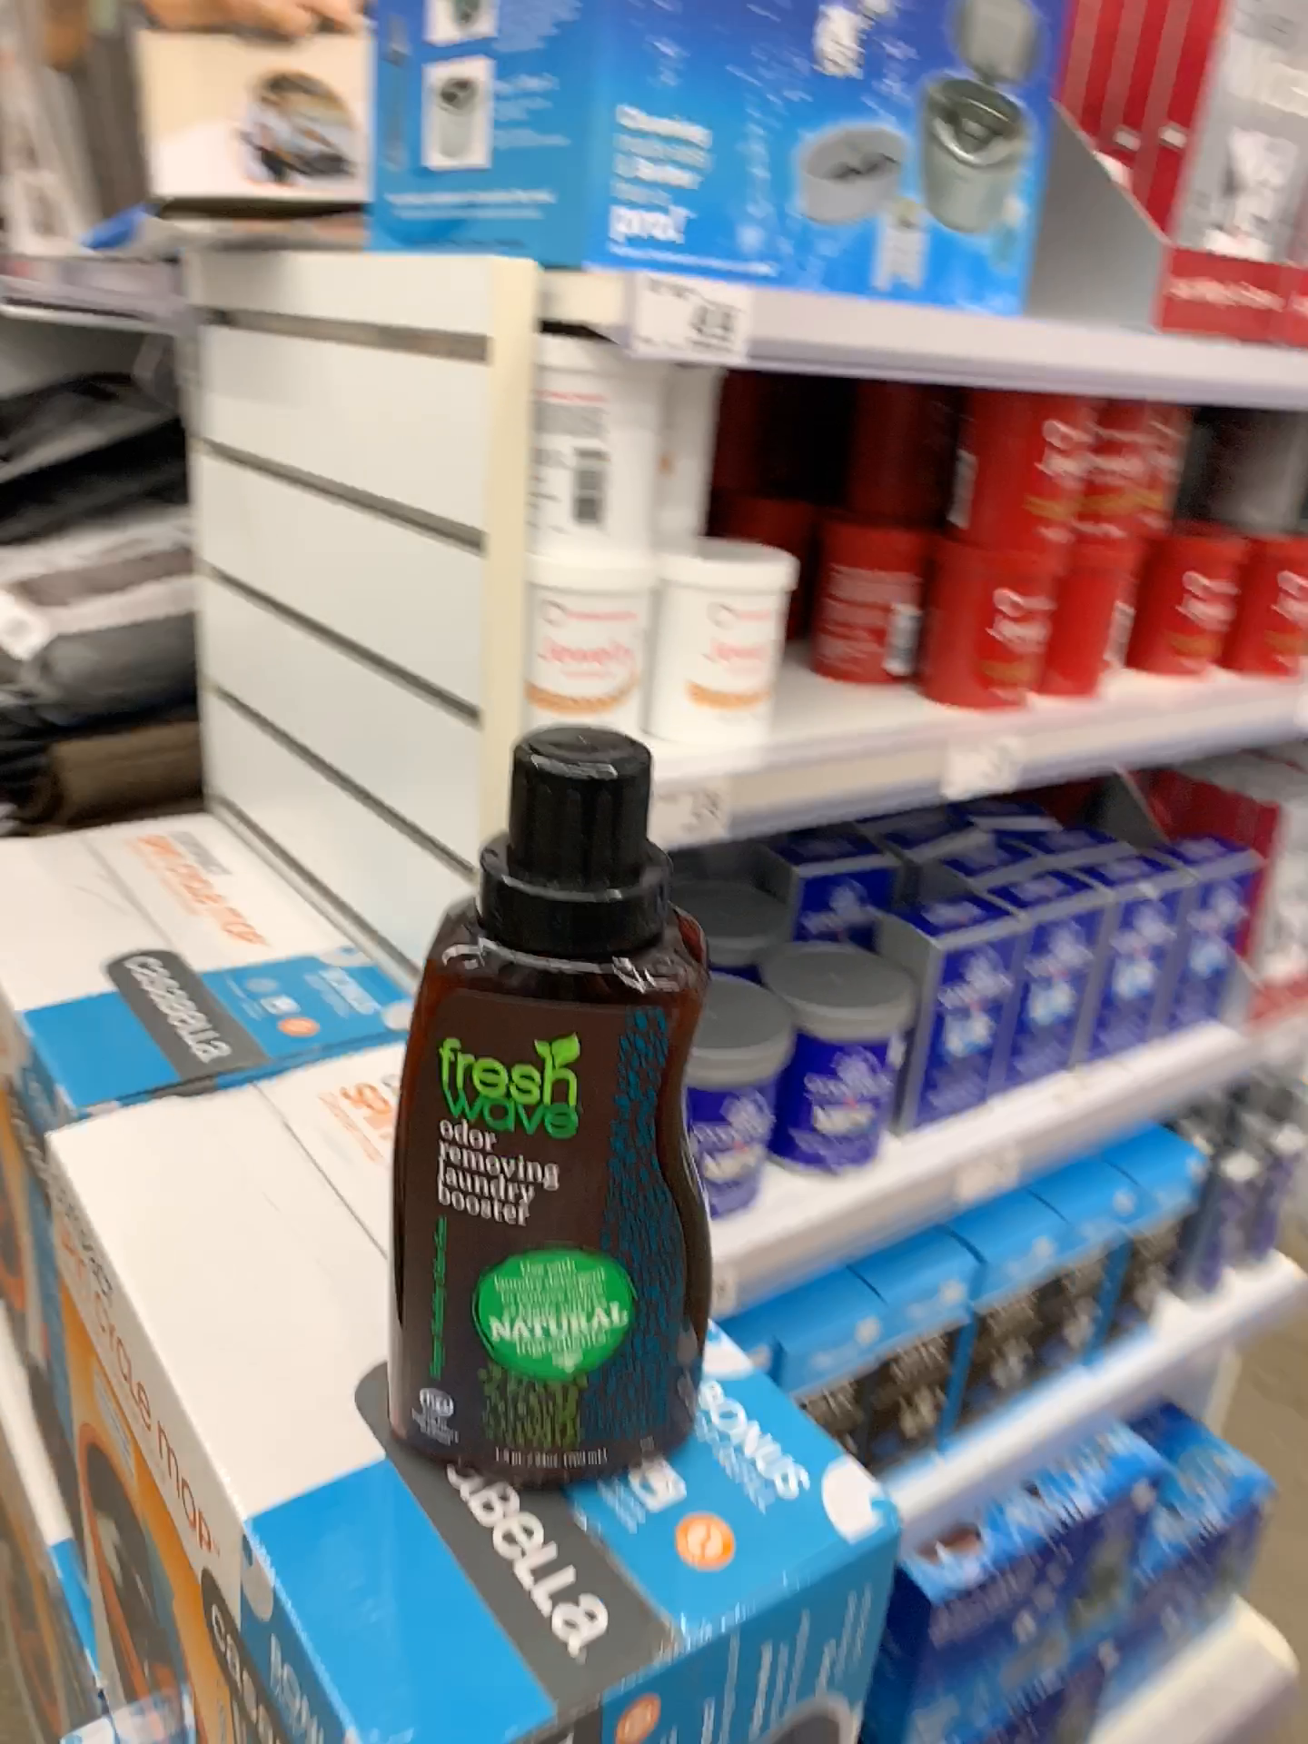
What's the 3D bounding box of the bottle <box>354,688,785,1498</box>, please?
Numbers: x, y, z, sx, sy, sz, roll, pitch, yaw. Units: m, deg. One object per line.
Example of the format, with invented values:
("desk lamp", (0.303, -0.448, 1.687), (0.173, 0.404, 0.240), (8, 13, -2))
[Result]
("bottle", (-0.026, 0.063, 0.381), (0.100, 0.209, 0.070), (6, 21, 2))
